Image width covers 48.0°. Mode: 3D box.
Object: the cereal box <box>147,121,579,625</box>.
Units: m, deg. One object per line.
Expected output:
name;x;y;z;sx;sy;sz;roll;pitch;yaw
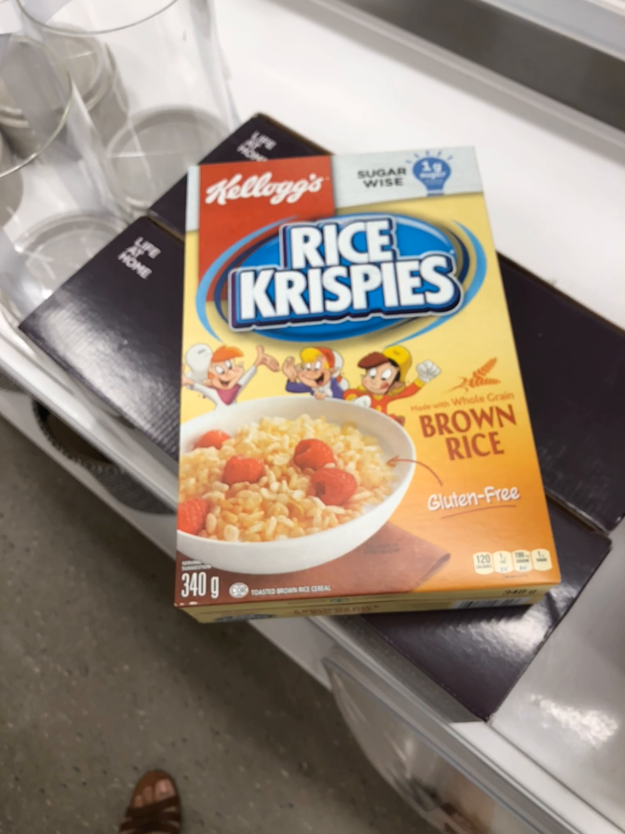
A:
cereal box;0.018;-0.045;0.460;0.220;0.070;0.330;-3;64;-2
